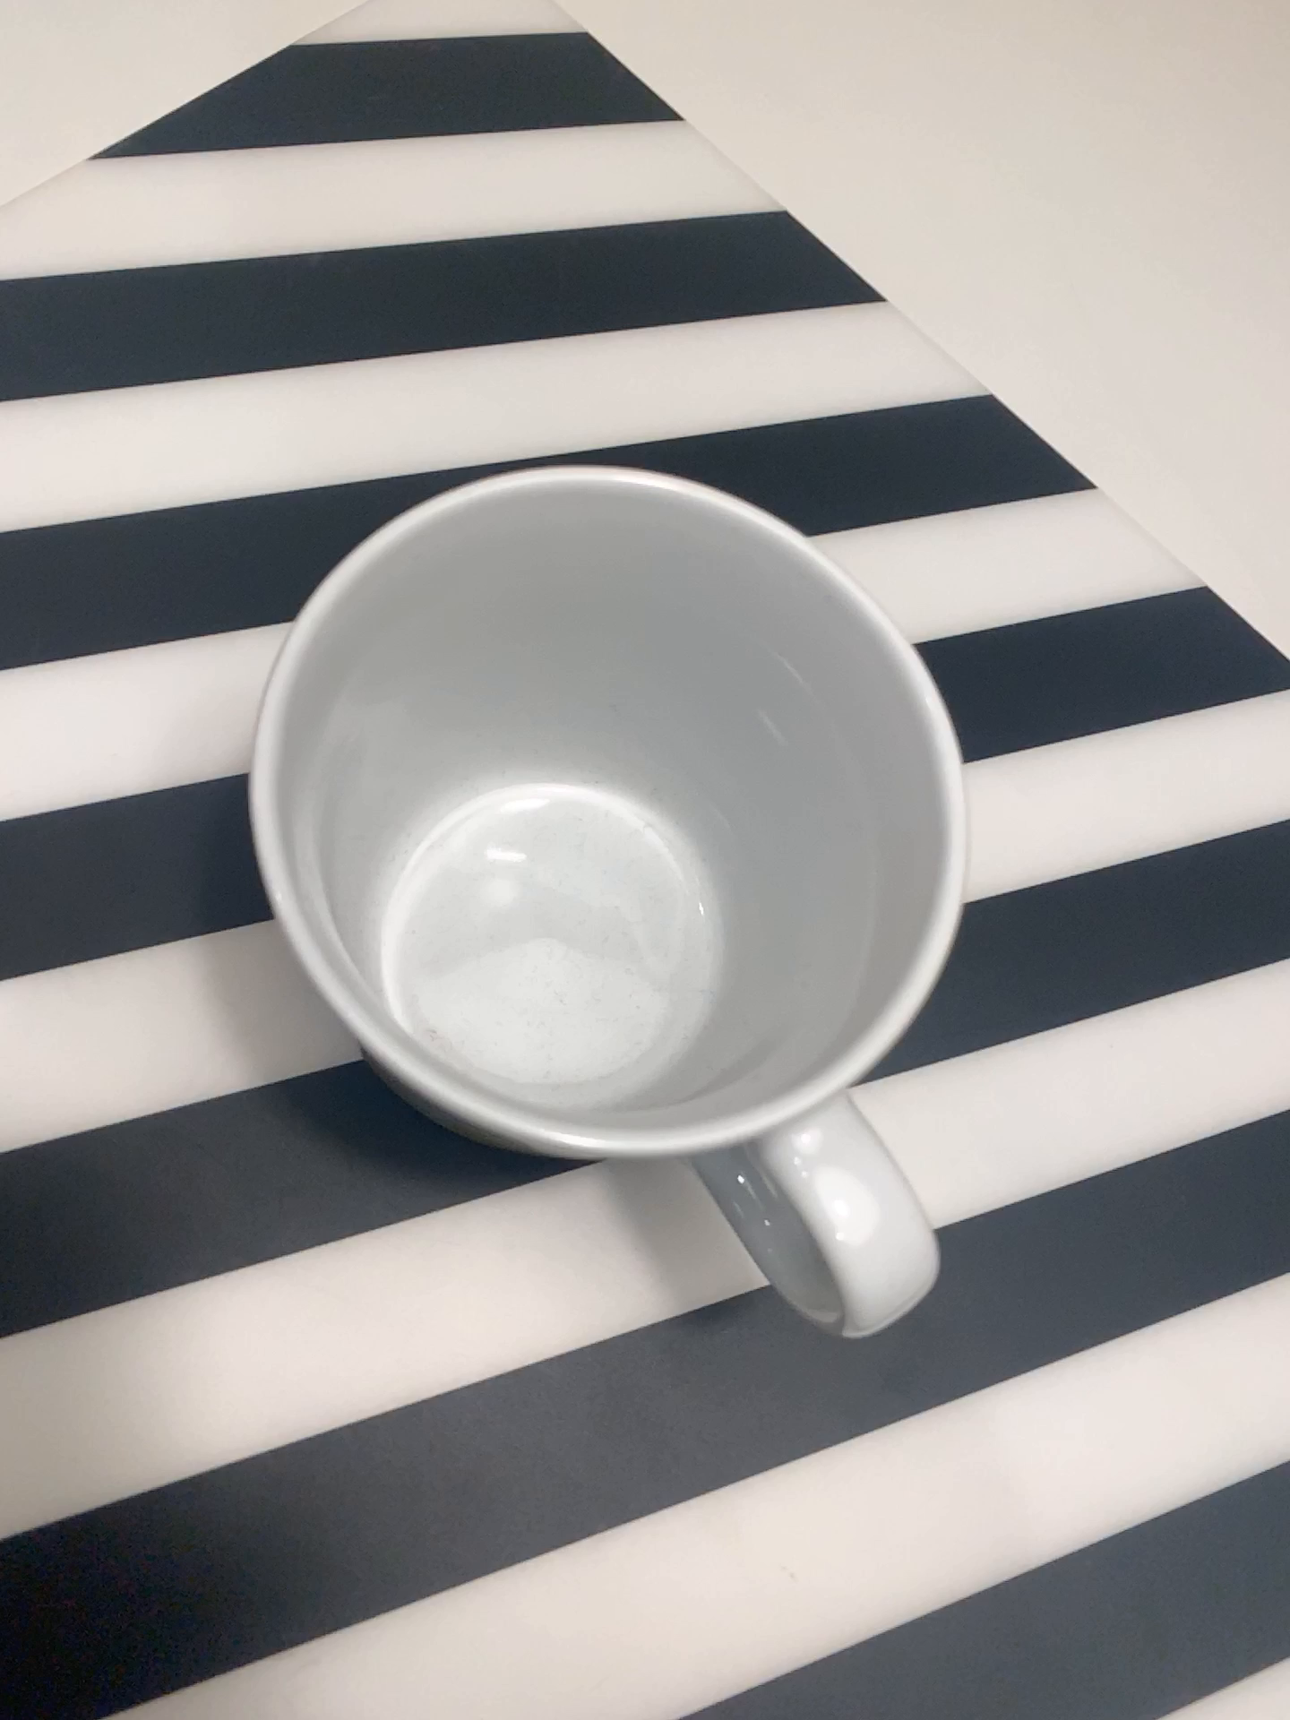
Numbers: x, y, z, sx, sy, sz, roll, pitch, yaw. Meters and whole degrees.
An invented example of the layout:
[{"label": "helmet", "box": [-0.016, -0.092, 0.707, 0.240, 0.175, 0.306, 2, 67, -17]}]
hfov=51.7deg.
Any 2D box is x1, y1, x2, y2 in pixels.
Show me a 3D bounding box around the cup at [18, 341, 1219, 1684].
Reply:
[{"label": "cup", "box": [-0.009, 0.015, 0.159, 0.070, 0.070, 0.110, -27, 79, -19]}]
